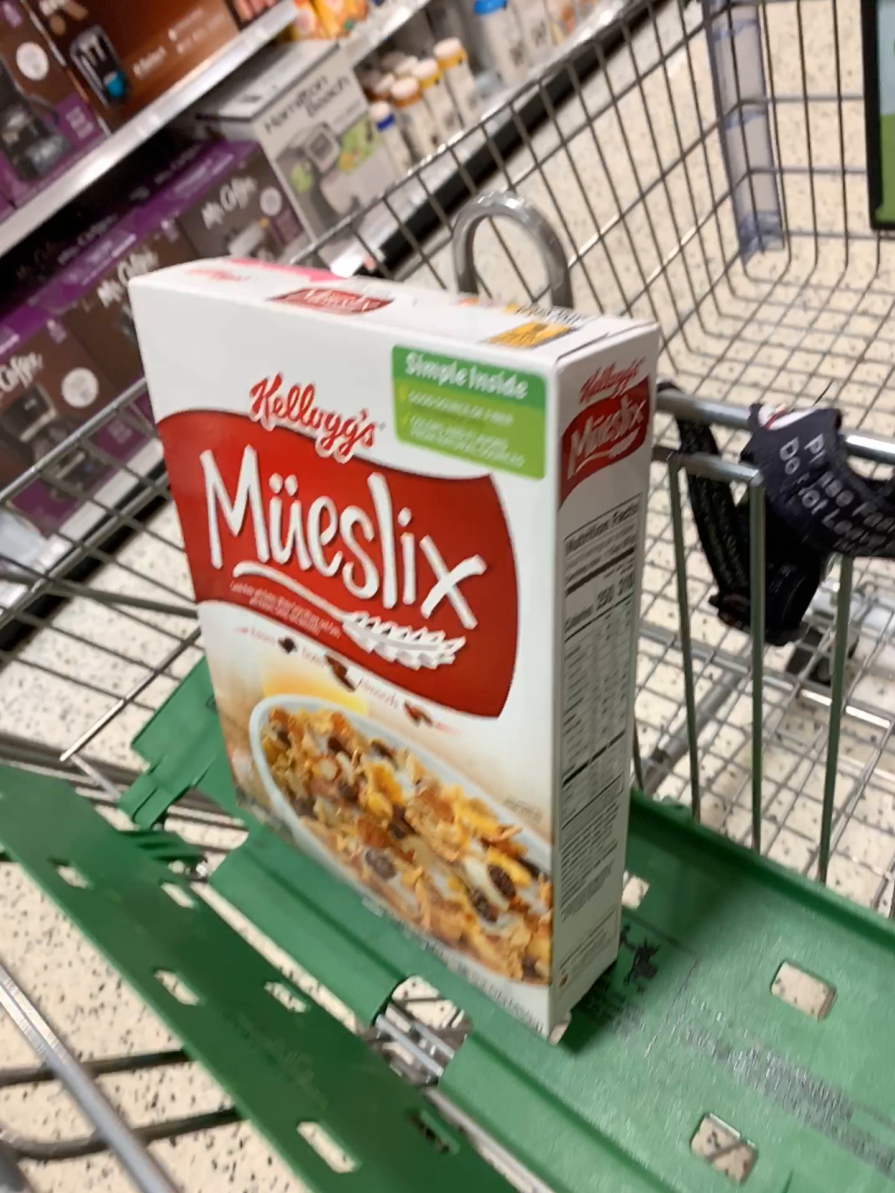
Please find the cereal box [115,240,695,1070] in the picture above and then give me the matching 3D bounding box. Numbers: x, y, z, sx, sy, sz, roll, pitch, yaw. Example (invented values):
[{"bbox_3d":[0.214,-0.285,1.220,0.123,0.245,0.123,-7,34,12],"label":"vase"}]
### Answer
[{"bbox_3d":[-0.021,0.017,0.359,0.201,0.268,0.060,23,39,38],"label":"cereal box"}]
